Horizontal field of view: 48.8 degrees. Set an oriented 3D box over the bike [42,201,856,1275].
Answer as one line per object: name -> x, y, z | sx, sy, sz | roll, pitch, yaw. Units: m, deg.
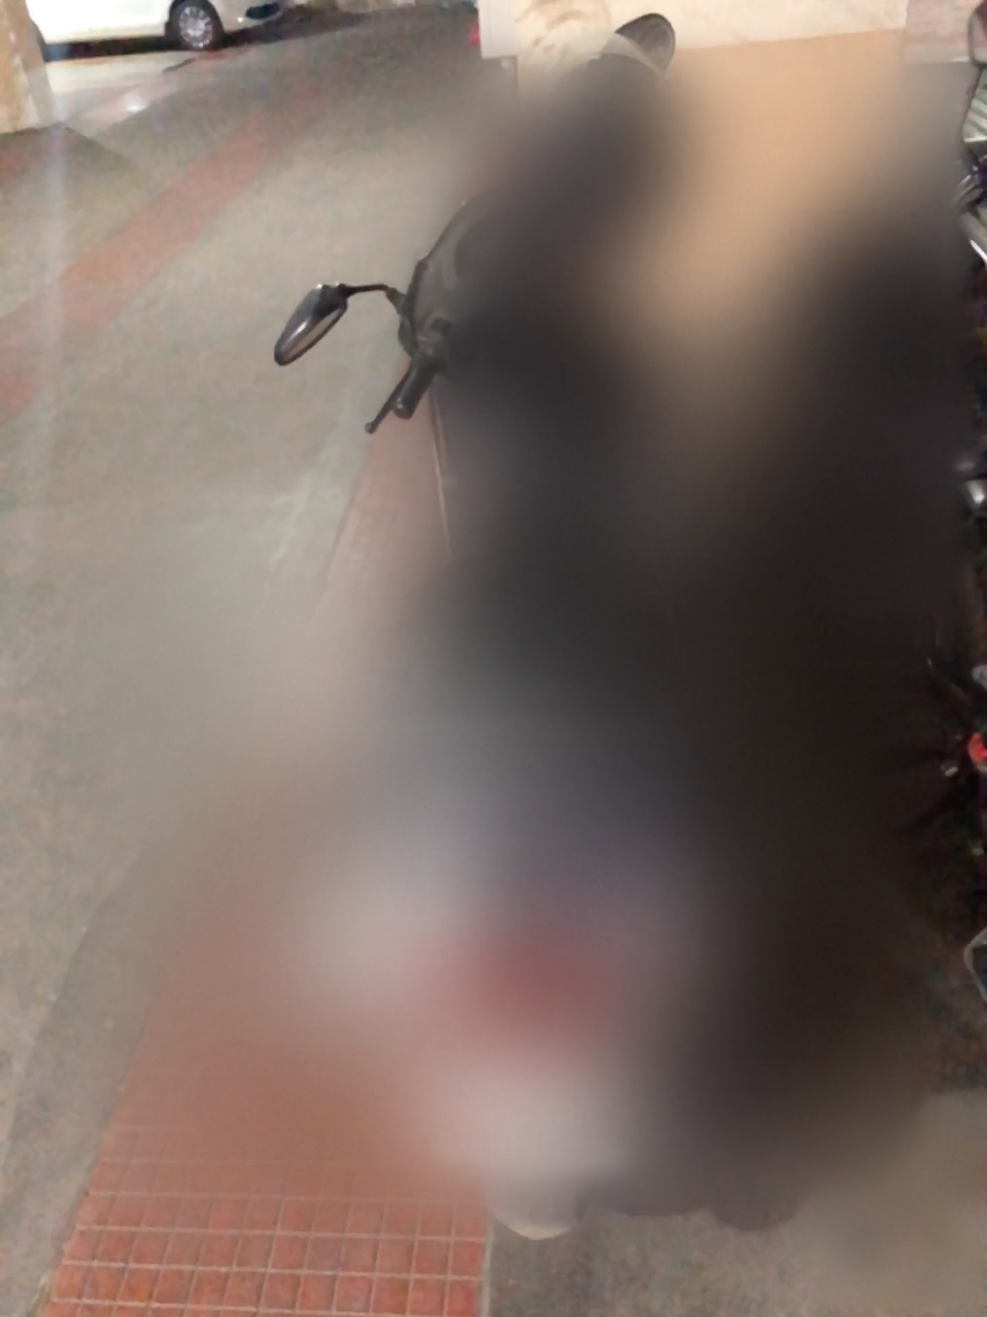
bike -> -0.028, -0.043, 1.709 | 0.594, 0.988, 1.502 | -5, 33, 2
